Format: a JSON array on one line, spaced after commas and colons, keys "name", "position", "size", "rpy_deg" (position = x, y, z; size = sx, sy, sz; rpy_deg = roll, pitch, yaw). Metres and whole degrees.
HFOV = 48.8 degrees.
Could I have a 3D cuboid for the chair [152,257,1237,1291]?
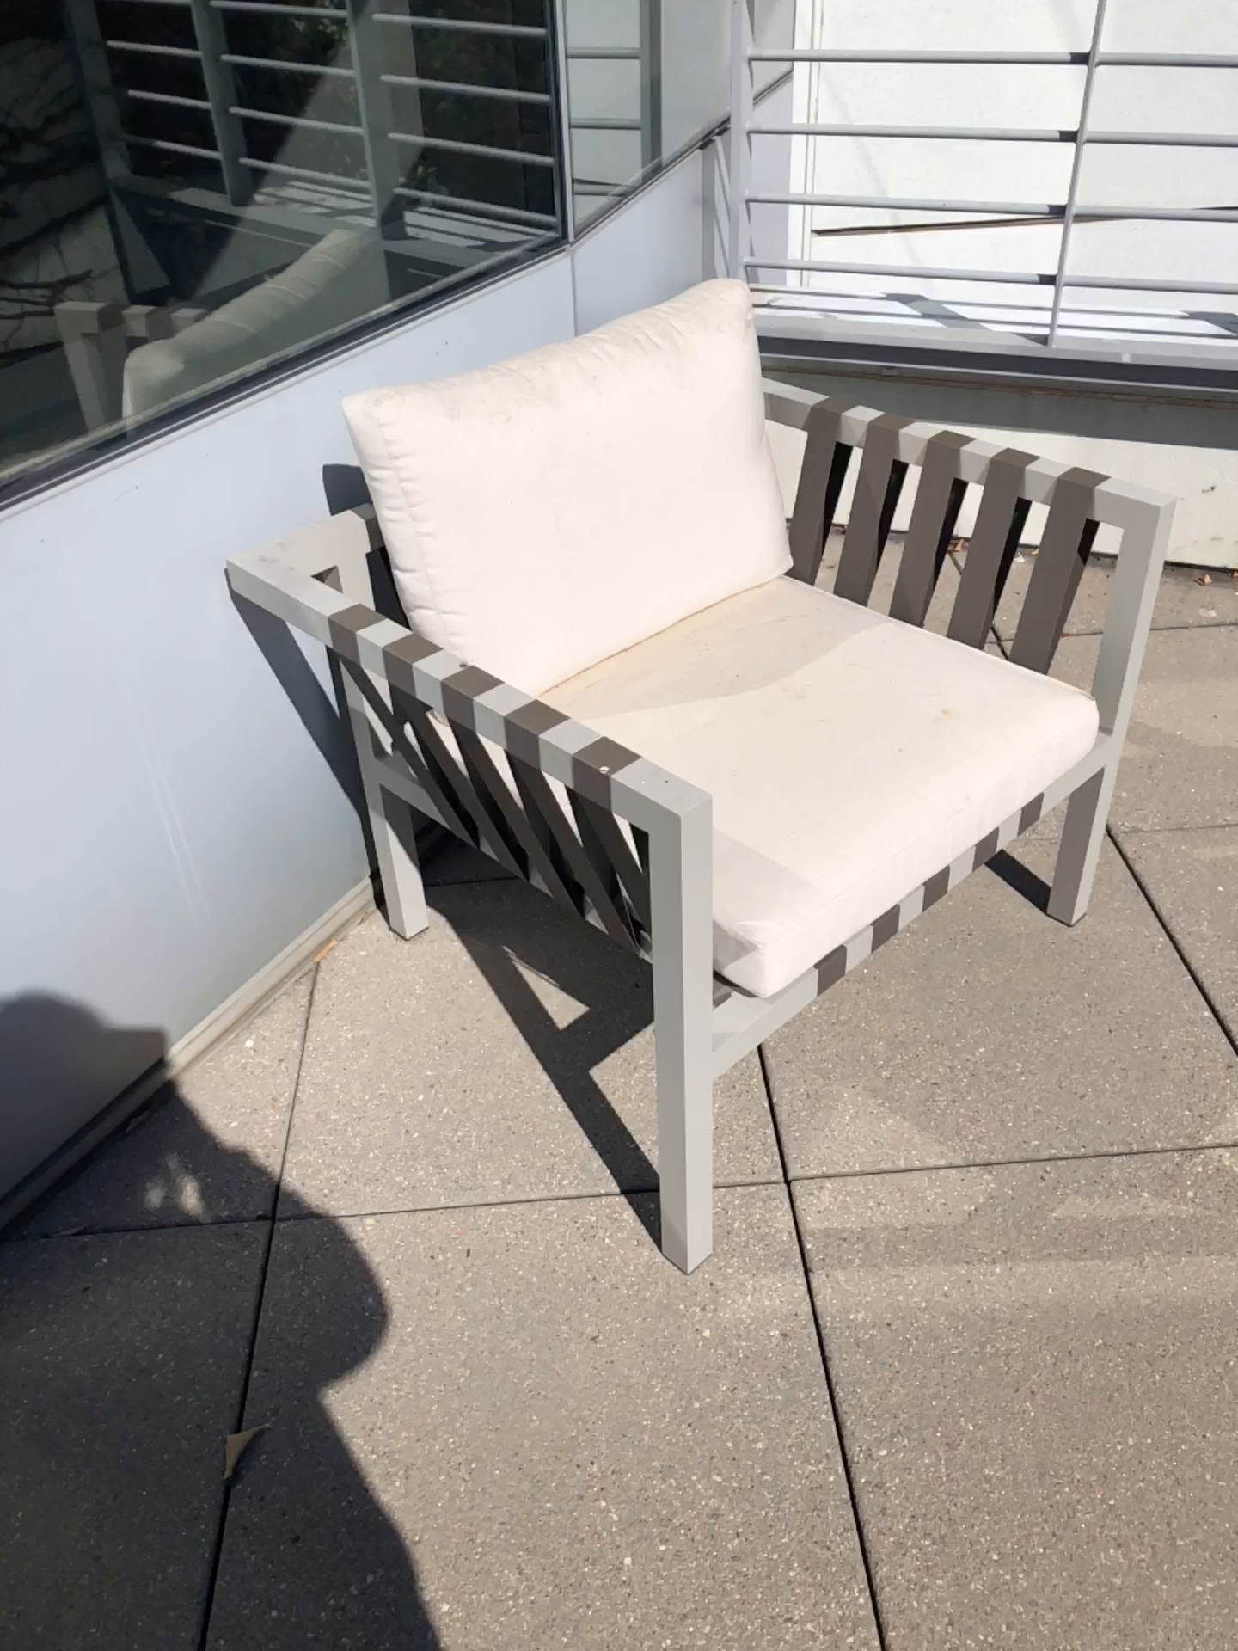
[{"name": "chair", "position": [0.101, -0.160, 1.681], "size": [0.783, 0.736, 0.872], "rpy_deg": [29, 47, 36]}]
